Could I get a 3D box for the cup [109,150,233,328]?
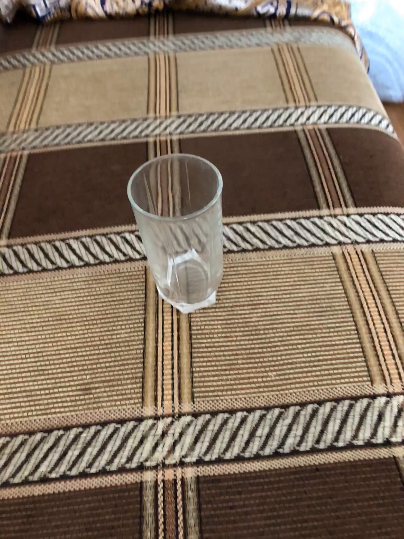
[{"bbox_3d":[-0.016,-0.021,0.371,0.075,0.130,0.077,-2,52,3],"label":"cup"}]
